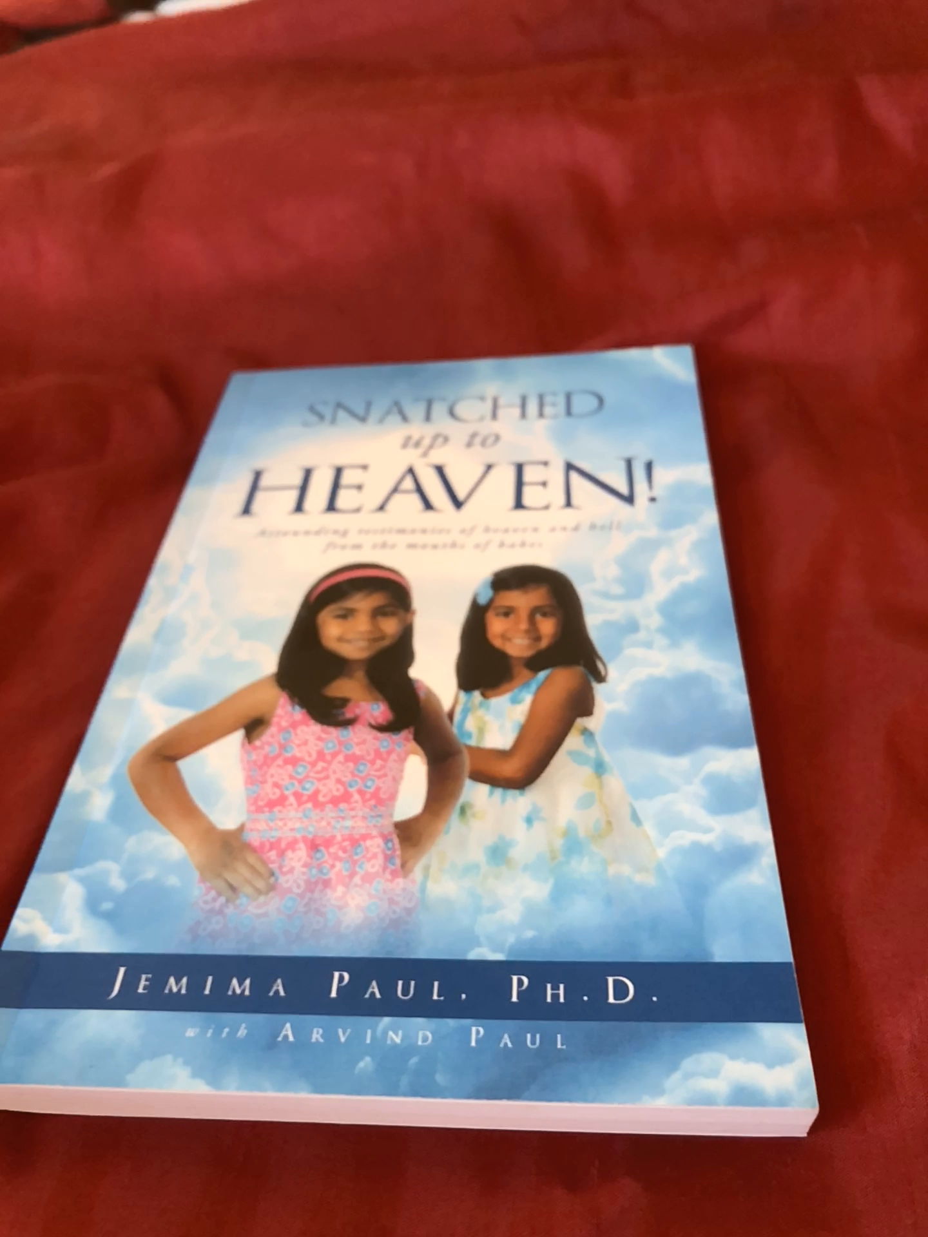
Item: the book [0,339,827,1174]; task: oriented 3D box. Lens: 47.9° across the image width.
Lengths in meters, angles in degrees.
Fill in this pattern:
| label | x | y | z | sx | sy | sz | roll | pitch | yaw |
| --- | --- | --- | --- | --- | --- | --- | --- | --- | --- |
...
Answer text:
| label | x | y | z | sx | sy | sz | roll | pitch | yaw |
| --- | --- | --- | --- | --- | --- | --- | --- | --- | --- |
| book | -0.008 | 0.006 | 0.240 | 0.140 | 0.020 | 0.213 | -1 | 46 | 8 |
